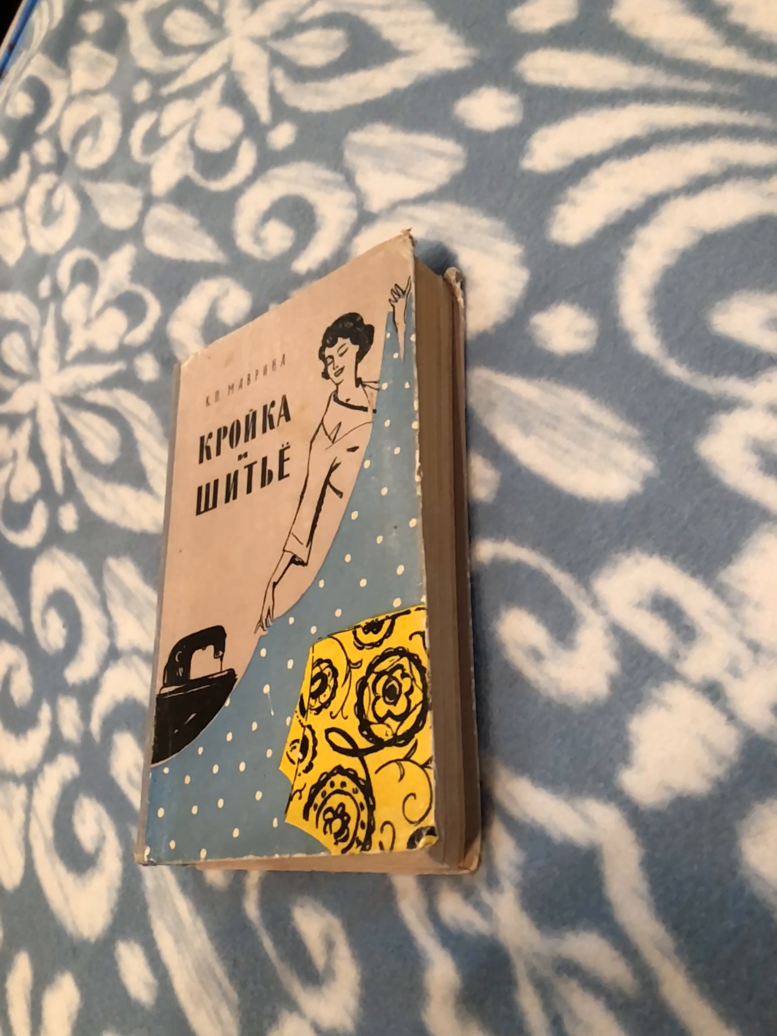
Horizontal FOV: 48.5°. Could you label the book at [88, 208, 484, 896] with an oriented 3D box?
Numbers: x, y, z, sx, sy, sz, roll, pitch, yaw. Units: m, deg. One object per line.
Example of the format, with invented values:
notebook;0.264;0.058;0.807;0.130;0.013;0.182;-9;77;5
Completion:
book;-0.041;0.017;0.330;0.152;0.037;0.232;-19;60;37
